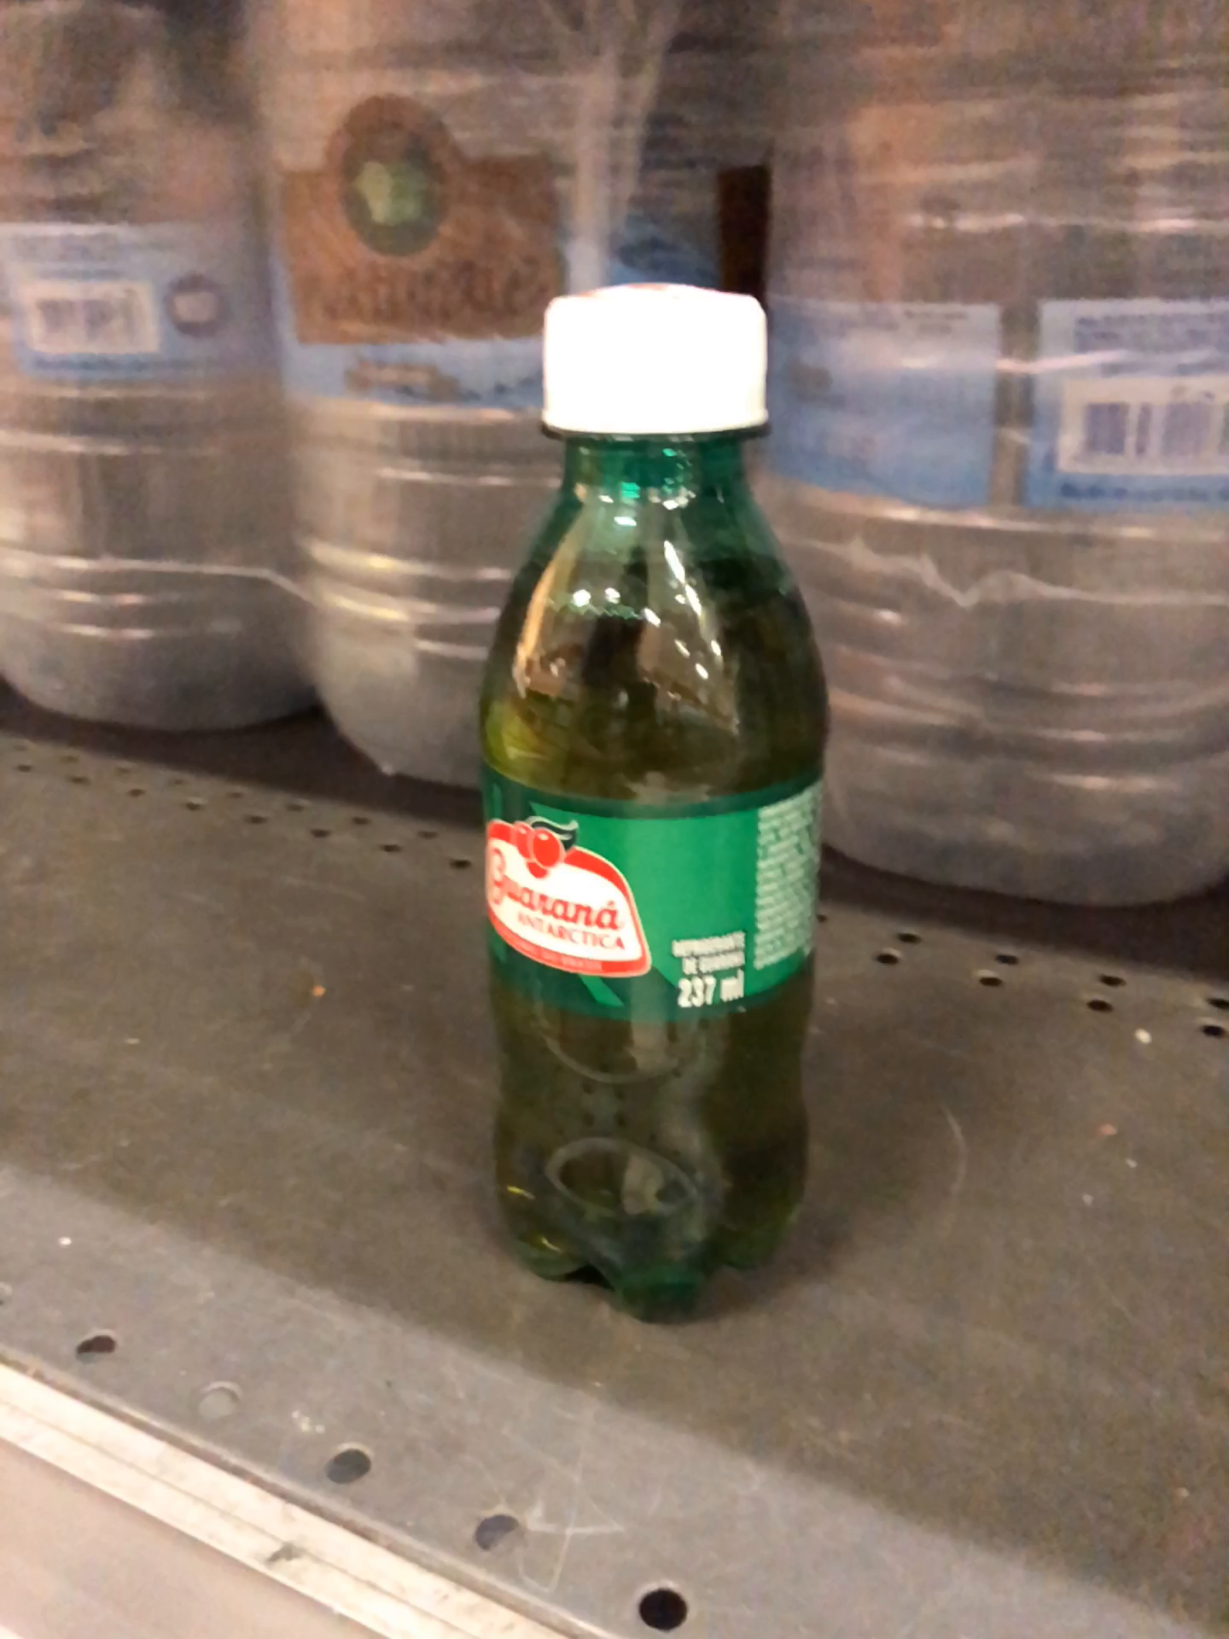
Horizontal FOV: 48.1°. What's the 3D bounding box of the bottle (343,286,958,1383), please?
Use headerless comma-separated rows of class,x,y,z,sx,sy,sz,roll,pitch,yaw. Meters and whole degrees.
bottle,0.008,-0.002,0.214,0.060,0.149,0.060,-1,23,0
